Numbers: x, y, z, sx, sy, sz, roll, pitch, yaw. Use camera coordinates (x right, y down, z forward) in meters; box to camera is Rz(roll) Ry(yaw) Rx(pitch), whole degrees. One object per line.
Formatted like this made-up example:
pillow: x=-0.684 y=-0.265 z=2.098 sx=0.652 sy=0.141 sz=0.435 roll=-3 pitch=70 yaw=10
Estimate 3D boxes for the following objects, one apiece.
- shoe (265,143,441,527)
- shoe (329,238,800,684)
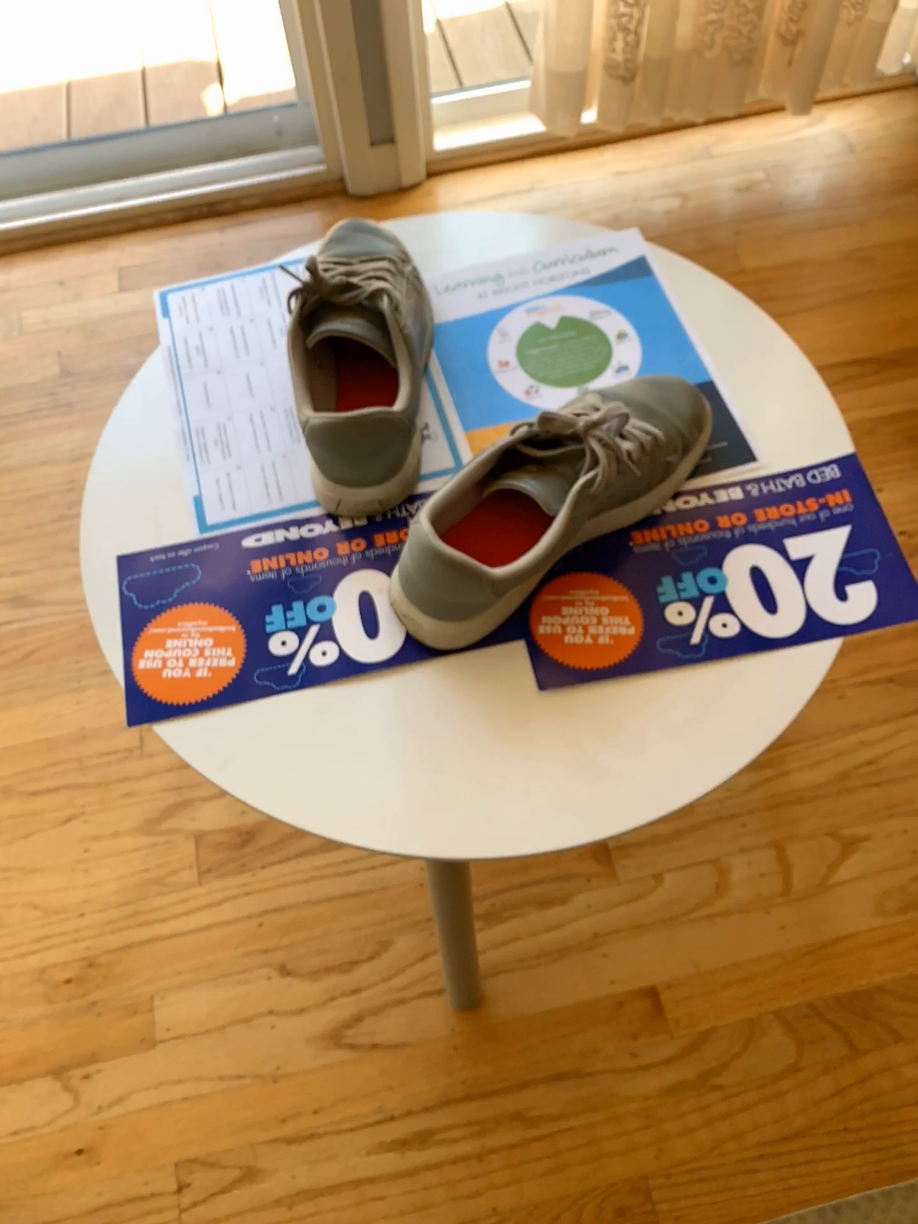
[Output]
shoe: x=-0.072 y=-0.204 z=0.686 sx=0.100 sy=0.100 sz=0.271 roll=-4 pitch=60 yaw=2
shoe: x=0.069 y=-0.098 z=0.596 sx=0.280 sy=0.110 sz=0.100 roll=-38 pitch=65 yaw=-17
